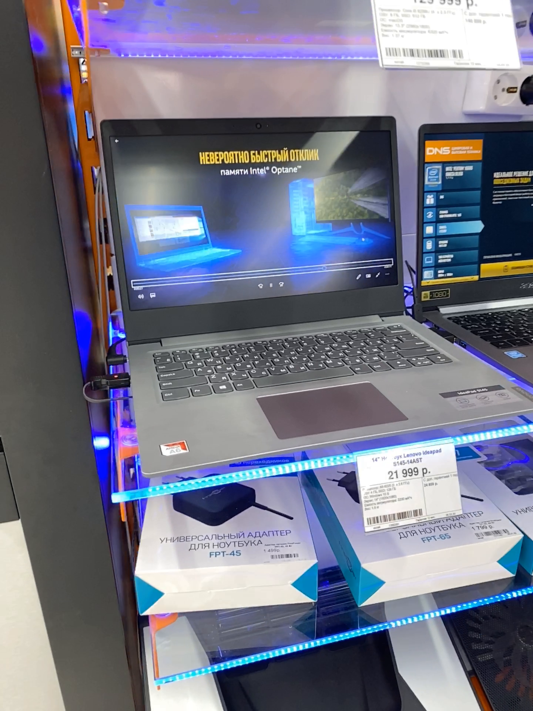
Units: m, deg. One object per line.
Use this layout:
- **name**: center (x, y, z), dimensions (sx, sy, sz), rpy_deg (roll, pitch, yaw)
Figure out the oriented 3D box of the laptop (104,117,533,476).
- **laptop**: center (0.035, -0.096, 0.496), dimensions (0.327, 0.215, 0.304), rpy_deg (-7, 24, -14)
